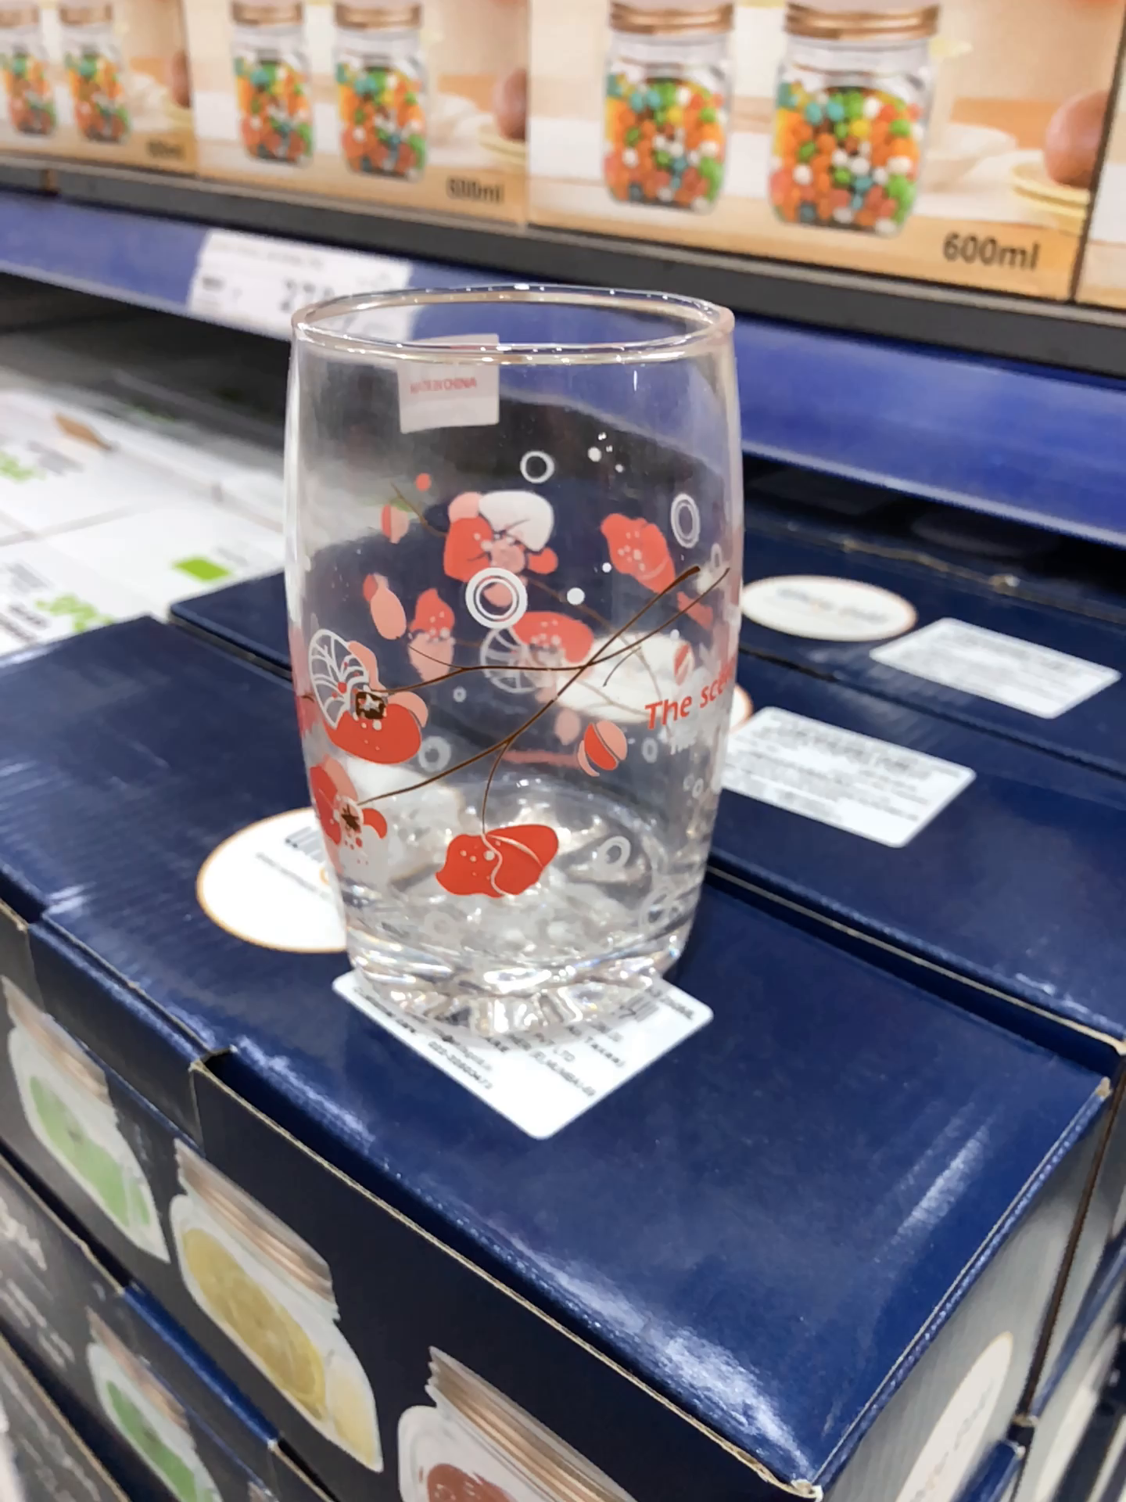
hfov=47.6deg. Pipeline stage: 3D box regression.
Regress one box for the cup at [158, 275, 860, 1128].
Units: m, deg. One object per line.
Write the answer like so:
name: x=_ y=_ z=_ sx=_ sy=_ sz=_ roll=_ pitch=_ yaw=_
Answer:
cup: x=-0.005 y=-0.014 z=0.199 sx=0.070 sy=0.100 sz=0.070 roll=1 pitch=29 yaw=-1
